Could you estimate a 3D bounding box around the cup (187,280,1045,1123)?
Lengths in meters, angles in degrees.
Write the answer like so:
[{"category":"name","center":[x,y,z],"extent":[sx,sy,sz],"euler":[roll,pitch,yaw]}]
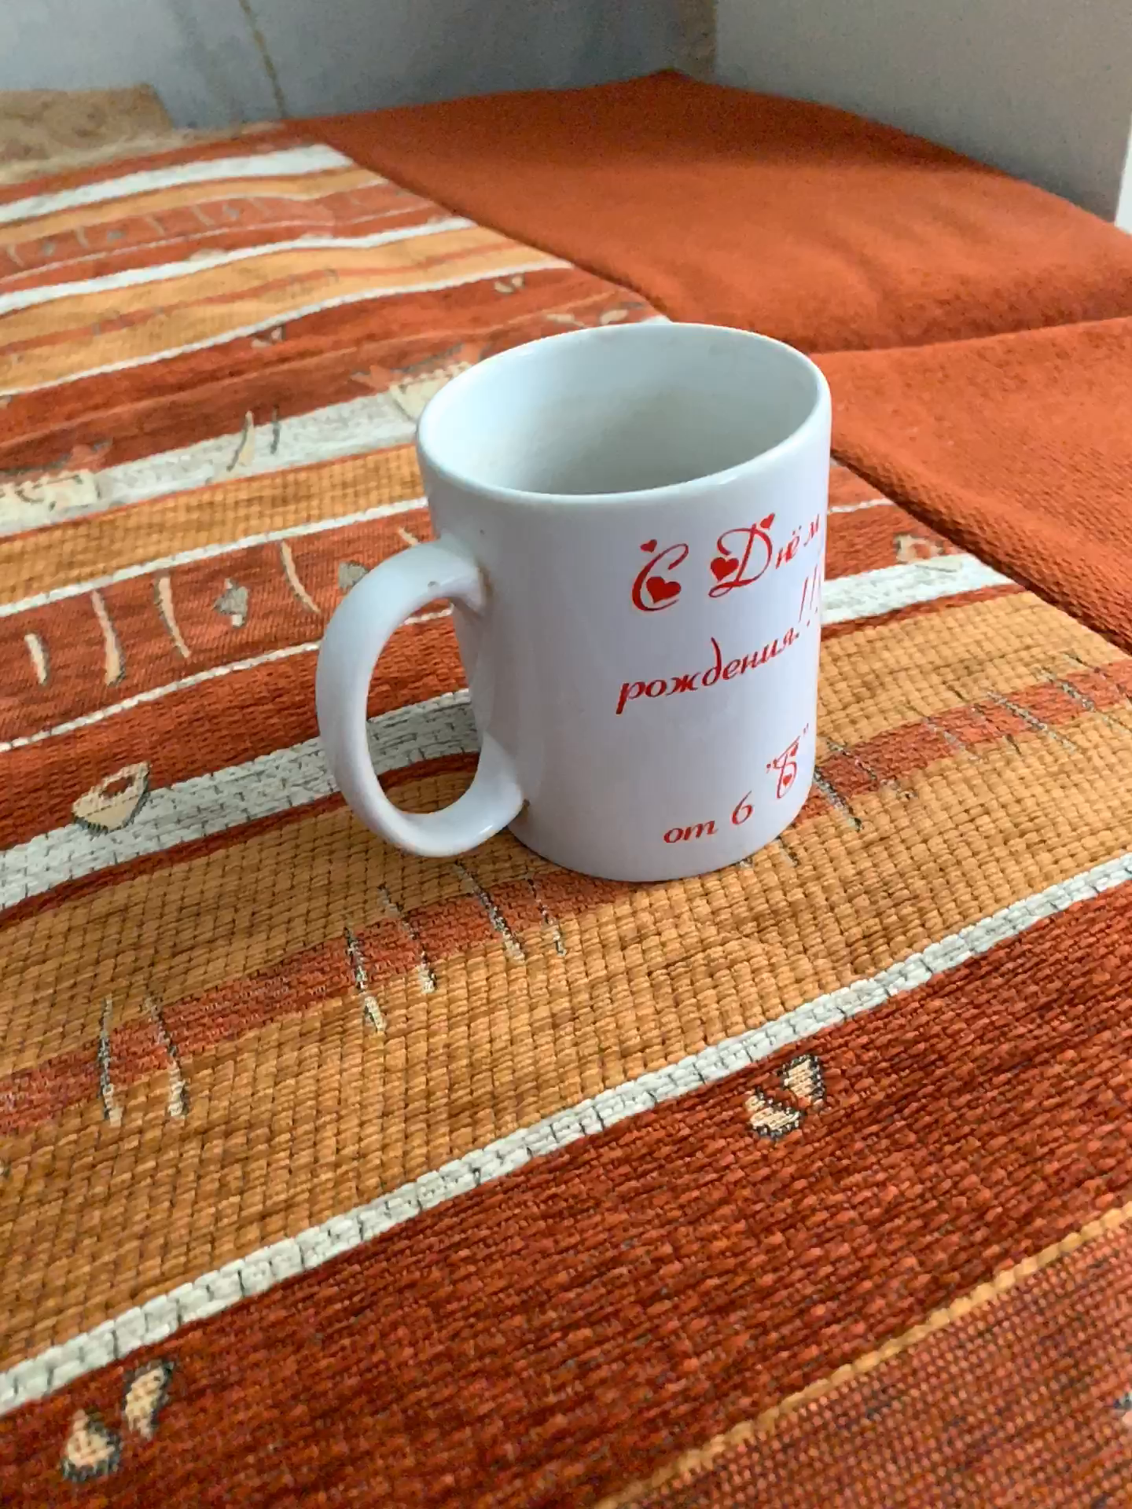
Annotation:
[{"category":"cup","center":[0.011,-0.018,0.213],"extent":[0.110,0.089,0.080],"euler":[-29,43,-25]}]
